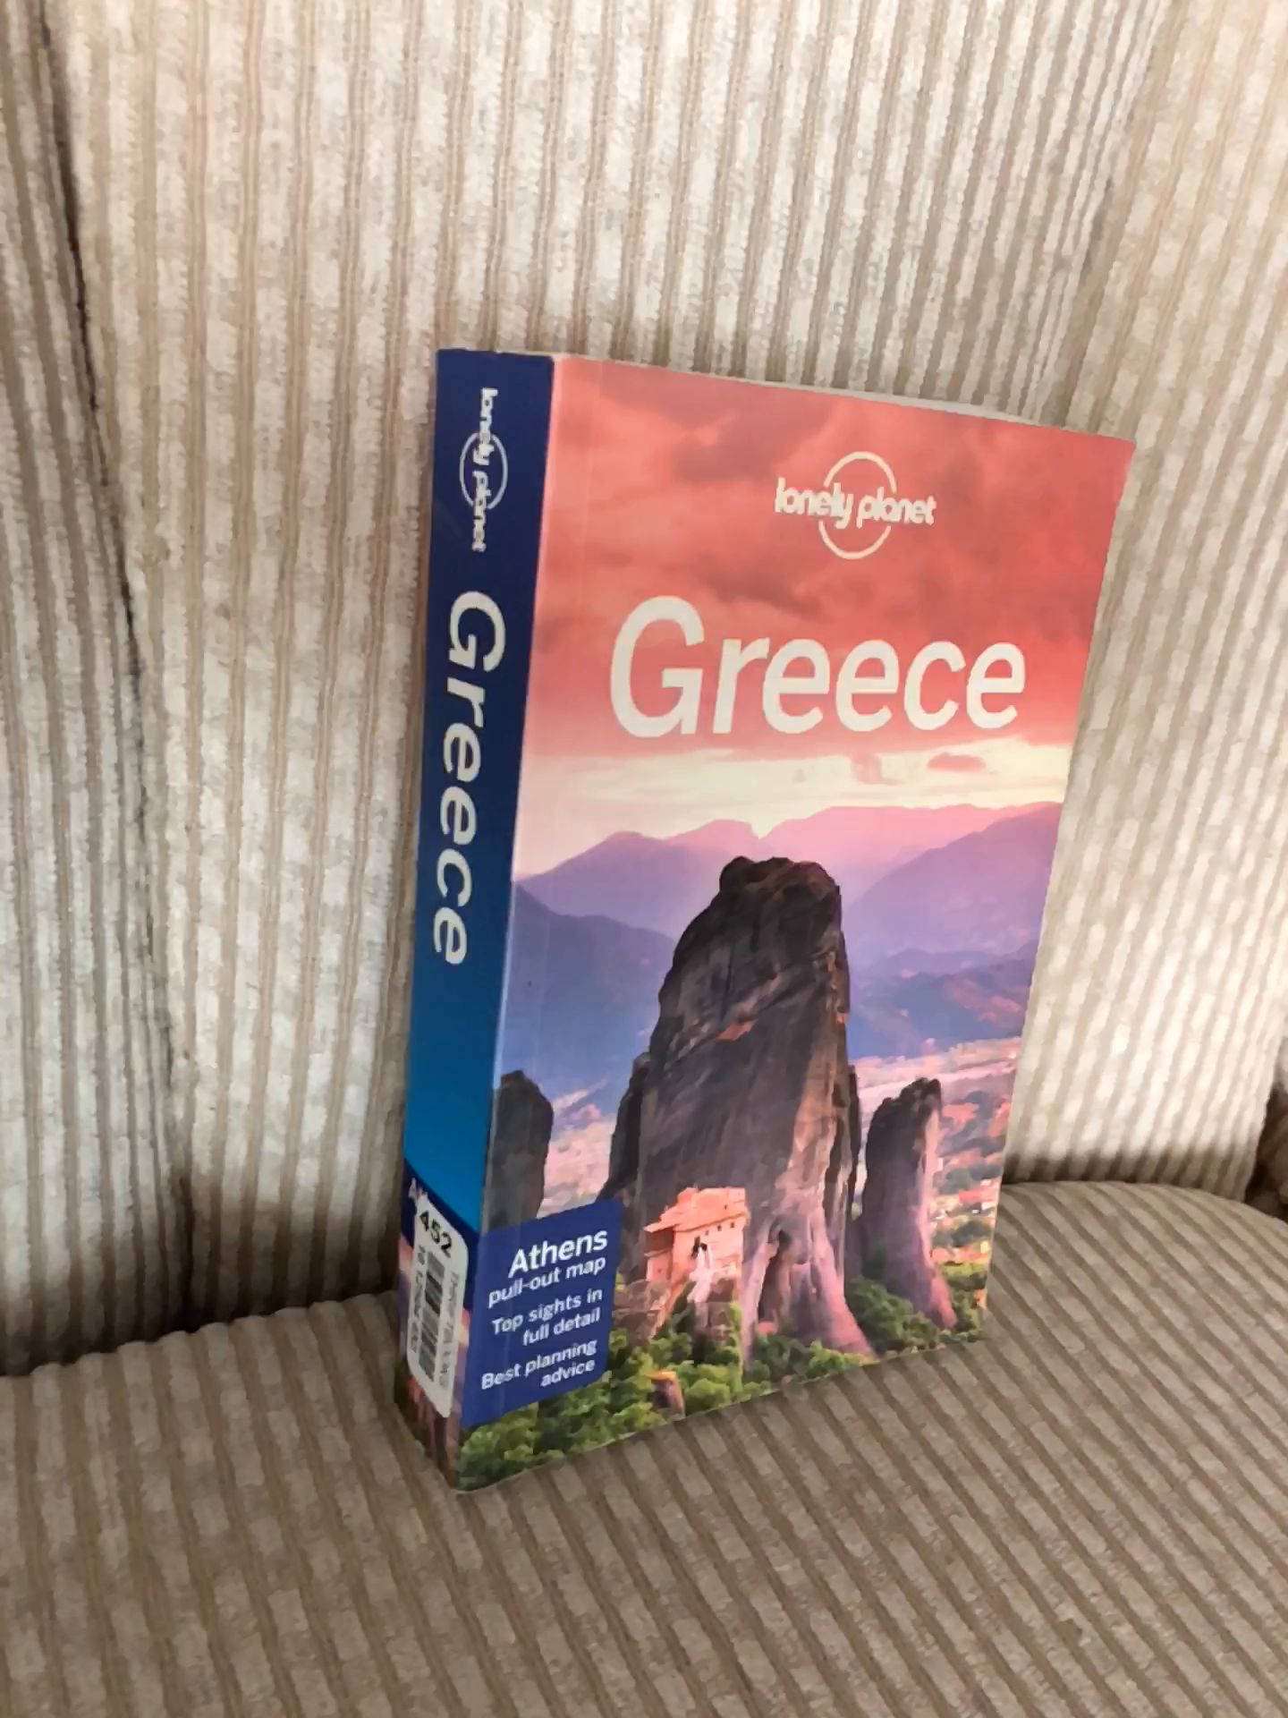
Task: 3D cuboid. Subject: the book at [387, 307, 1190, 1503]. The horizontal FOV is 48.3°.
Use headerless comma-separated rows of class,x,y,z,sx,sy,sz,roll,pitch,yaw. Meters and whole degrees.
book,0.025,0.009,0.278,0.133,0.201,0.041,-3,18,-29
